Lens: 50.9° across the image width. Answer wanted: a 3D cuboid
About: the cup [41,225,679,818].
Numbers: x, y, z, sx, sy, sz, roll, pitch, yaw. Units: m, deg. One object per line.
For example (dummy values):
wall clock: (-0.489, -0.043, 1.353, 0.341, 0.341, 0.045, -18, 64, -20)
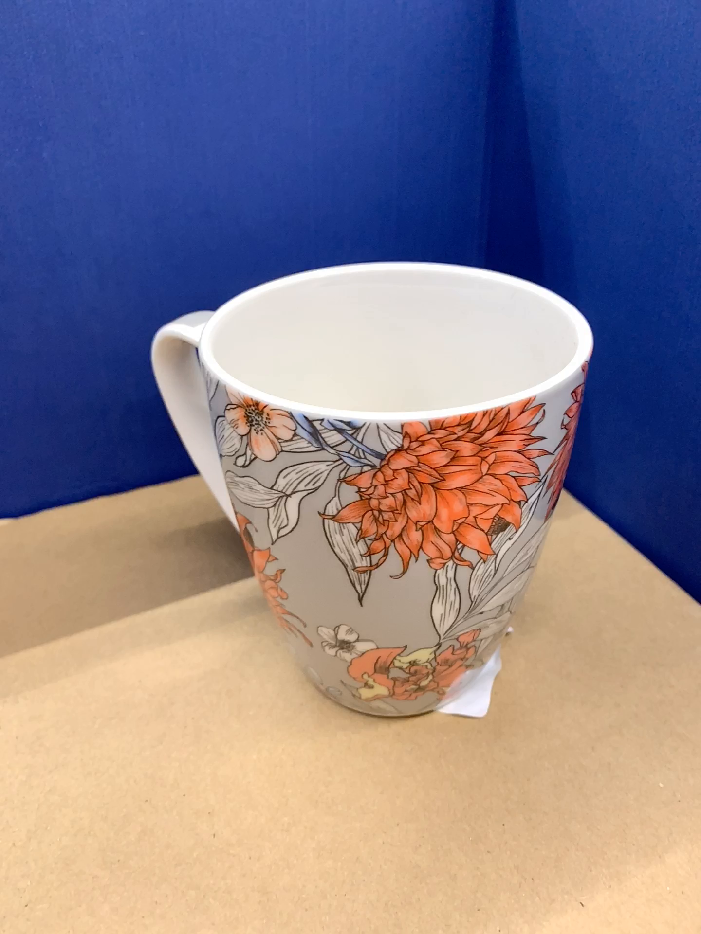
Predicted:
cup: (0.000, -0.003, 0.193, 0.118, 0.085, 0.092, 26, 40, 36)
